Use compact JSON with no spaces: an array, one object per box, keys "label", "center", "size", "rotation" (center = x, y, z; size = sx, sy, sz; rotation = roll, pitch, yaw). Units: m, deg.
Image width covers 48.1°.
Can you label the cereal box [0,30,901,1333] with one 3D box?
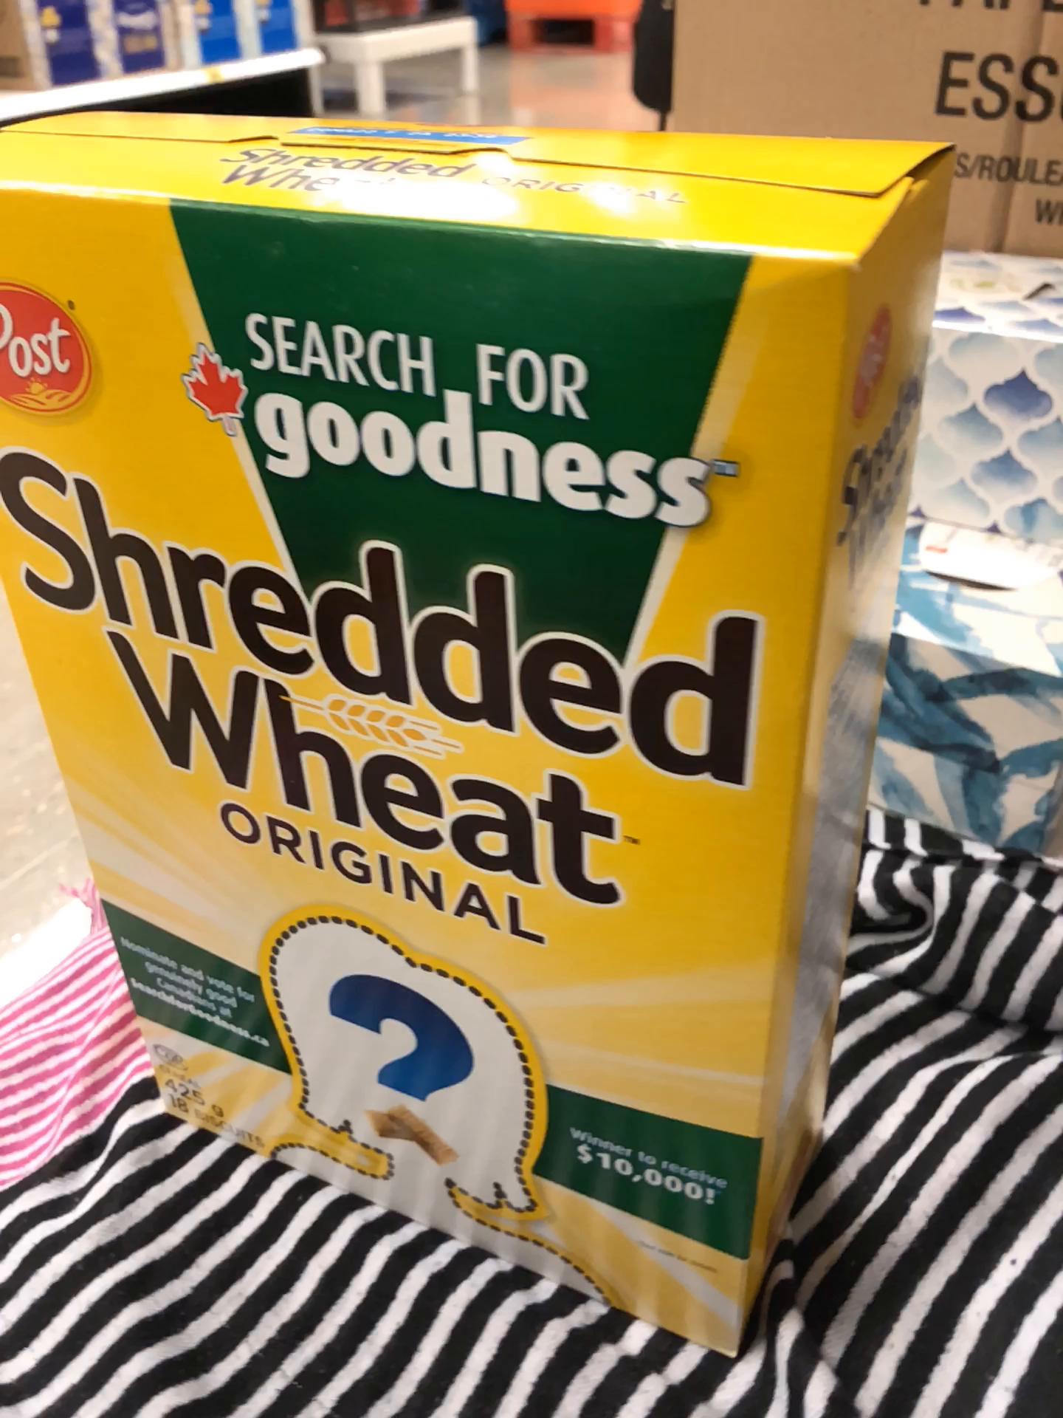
[{"label":"cereal box","center":[-0.046,-0.003,0.283],"size":[0.210,0.269,0.080],"rotation":[13,37,22]}]
